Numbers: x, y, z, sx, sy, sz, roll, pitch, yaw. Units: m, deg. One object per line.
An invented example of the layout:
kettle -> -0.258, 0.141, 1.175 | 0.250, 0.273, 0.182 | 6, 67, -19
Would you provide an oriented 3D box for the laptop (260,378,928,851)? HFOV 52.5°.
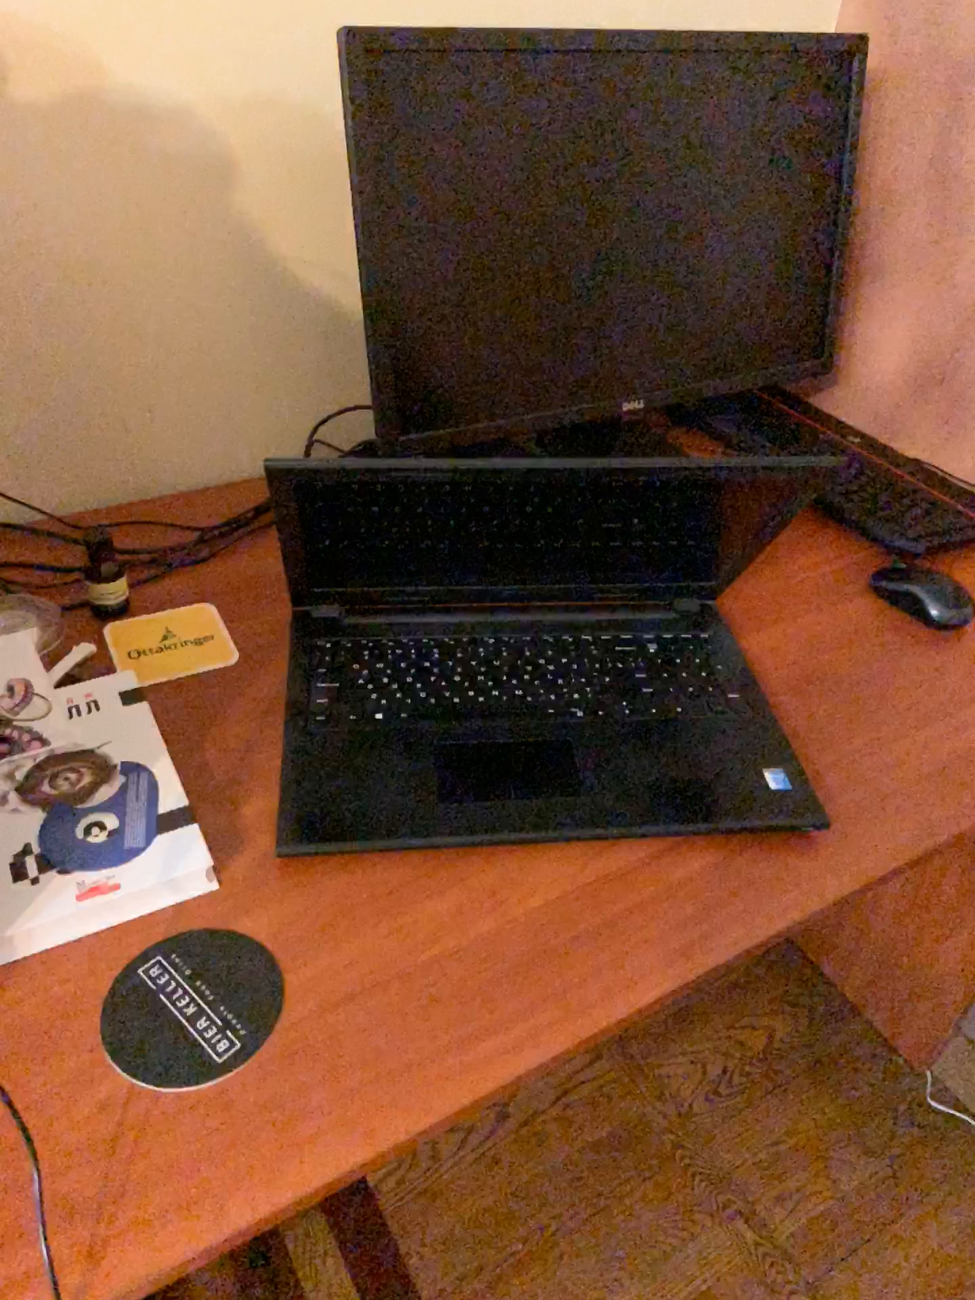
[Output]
laptop -> 0.044, -0.036, 0.690 | 0.373, 0.202, 0.247 | -1, 39, -9
